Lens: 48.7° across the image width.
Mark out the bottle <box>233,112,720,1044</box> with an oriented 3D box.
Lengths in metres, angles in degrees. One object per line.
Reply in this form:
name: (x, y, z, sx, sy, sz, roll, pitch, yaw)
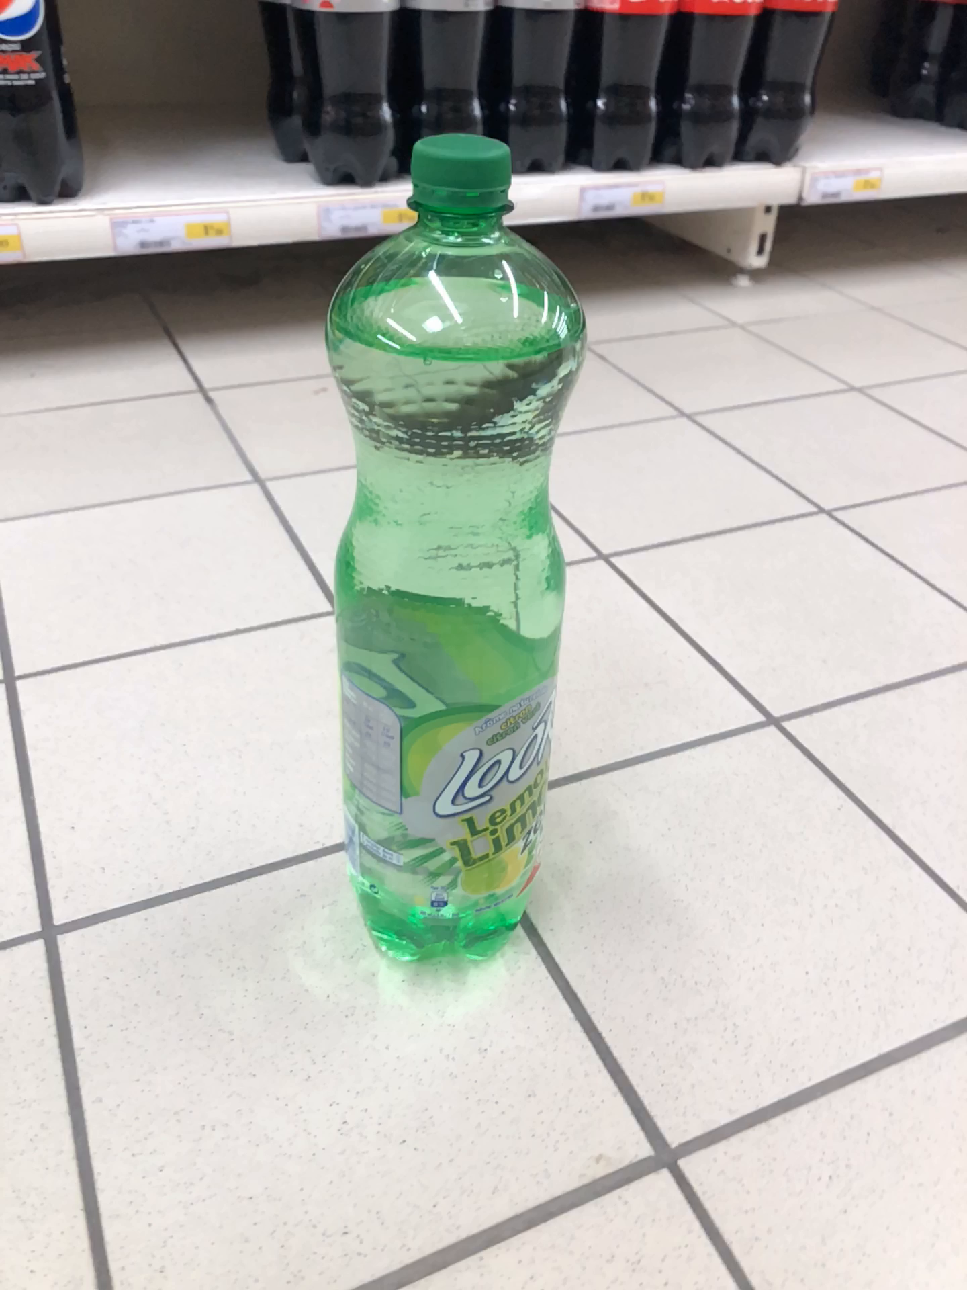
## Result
bottle: (-0.008, -0.012, 0.398, 0.100, 0.318, 0.101, 2, 34, -1)
